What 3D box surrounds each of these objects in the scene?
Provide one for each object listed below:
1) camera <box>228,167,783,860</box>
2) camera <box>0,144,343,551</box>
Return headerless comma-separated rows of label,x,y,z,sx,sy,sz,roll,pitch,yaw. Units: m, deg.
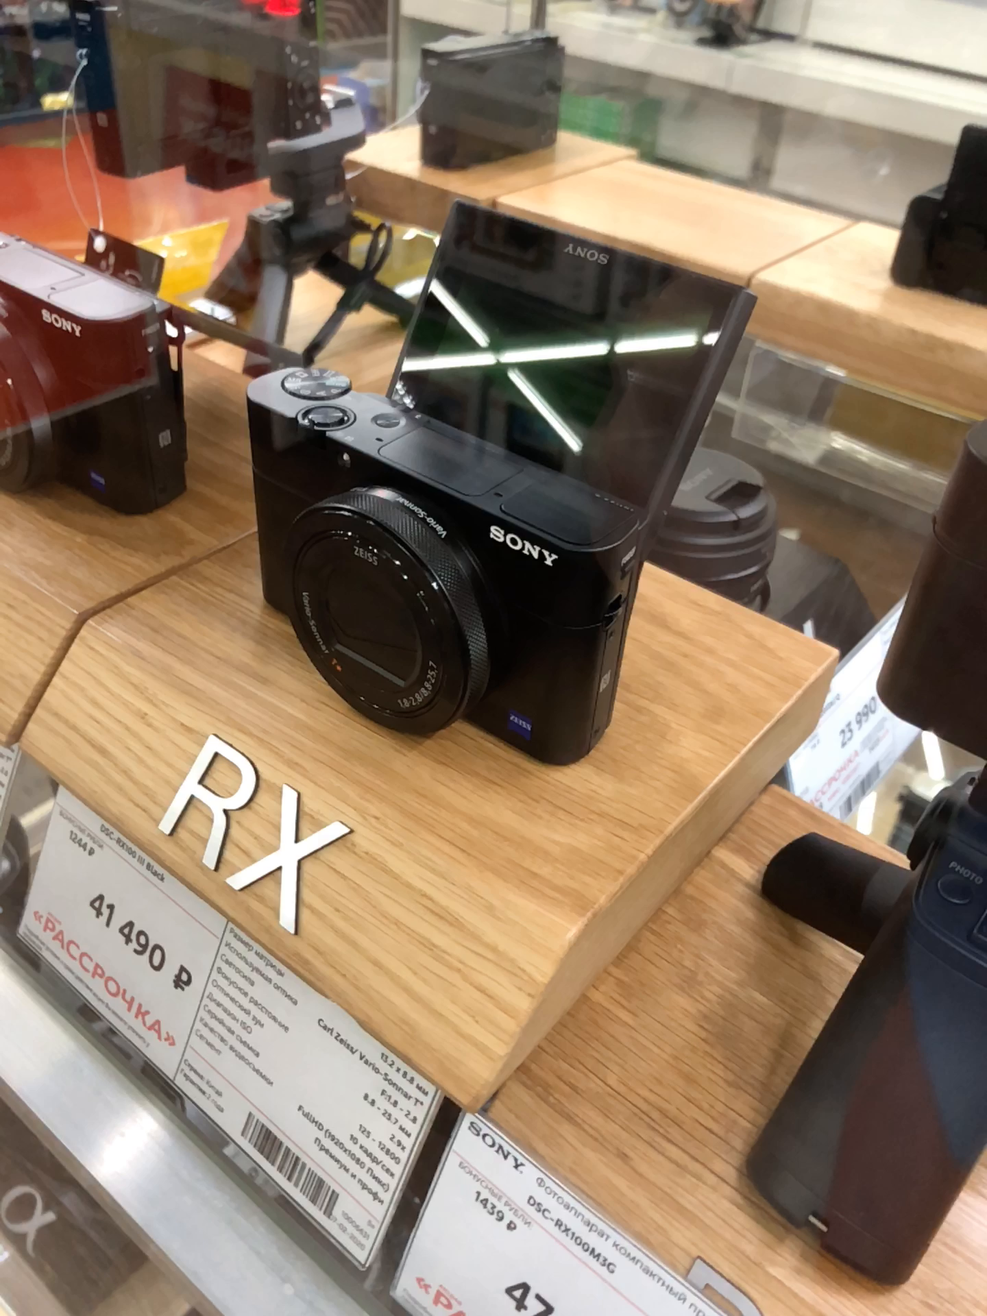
camera,-0.004,-0.034,0.253,0.100,0.119,0.050,29,44,28
camera,-0.116,-0.099,0.327,0.101,0.067,0.097,29,44,28
